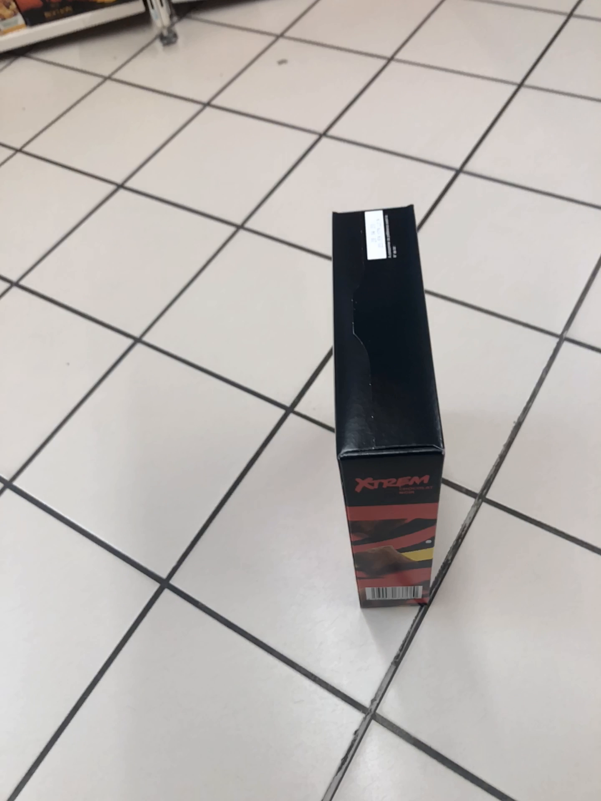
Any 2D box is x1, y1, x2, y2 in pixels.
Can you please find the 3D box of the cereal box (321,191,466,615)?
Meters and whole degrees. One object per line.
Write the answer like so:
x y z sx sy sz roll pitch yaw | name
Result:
0.062 0.017 0.485 0.070 0.249 0.201 -4 55 6 | cereal box
